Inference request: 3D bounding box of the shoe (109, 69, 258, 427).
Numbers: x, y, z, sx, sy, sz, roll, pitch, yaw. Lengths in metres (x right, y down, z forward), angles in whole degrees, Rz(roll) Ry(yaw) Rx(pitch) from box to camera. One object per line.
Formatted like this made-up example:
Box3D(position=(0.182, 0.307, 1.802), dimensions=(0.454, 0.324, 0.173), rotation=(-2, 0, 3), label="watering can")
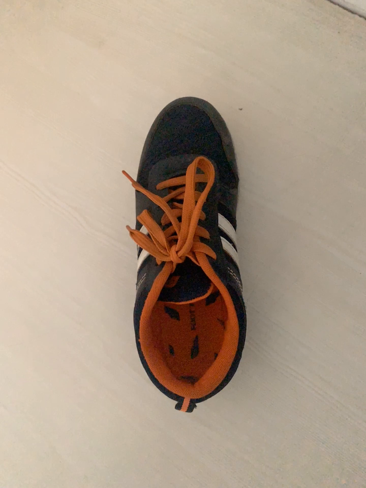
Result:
Box3D(position=(0.003, 0.002, 0.308), dimensions=(0.100, 0.080, 0.250), rotation=(-3, 81, 9), label="shoe")
